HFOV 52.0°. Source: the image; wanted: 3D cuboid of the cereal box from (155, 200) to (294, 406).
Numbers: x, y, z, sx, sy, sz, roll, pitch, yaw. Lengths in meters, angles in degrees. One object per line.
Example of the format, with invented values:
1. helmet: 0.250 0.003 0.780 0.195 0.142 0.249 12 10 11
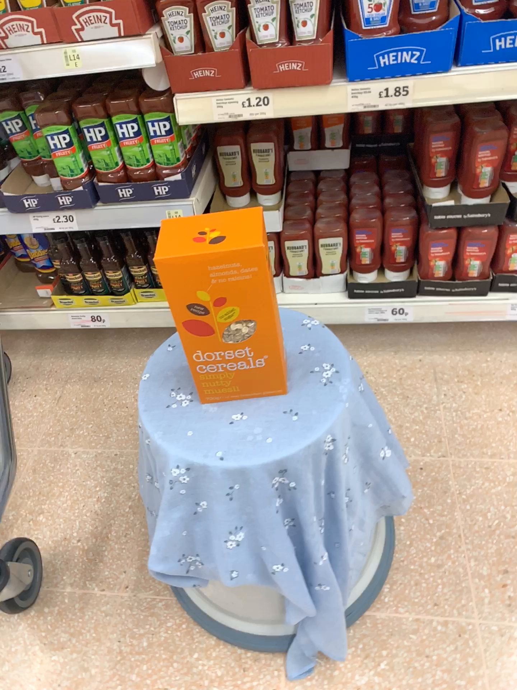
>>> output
1. cereal box: -0.031 -0.041 0.638 0.120 0.228 0.091 -7 43 3
